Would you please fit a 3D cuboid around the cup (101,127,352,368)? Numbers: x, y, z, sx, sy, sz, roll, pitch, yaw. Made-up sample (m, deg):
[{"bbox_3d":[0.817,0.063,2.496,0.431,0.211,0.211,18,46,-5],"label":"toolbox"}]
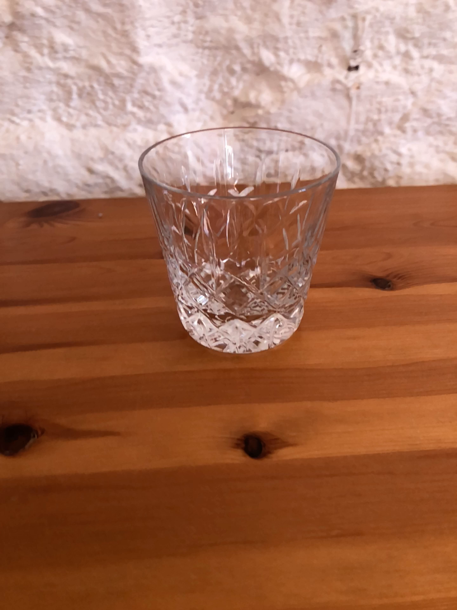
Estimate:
[{"bbox_3d":[-0.001,-0.026,0.208,0.077,0.068,0.077,0,36,0],"label":"cup"}]
